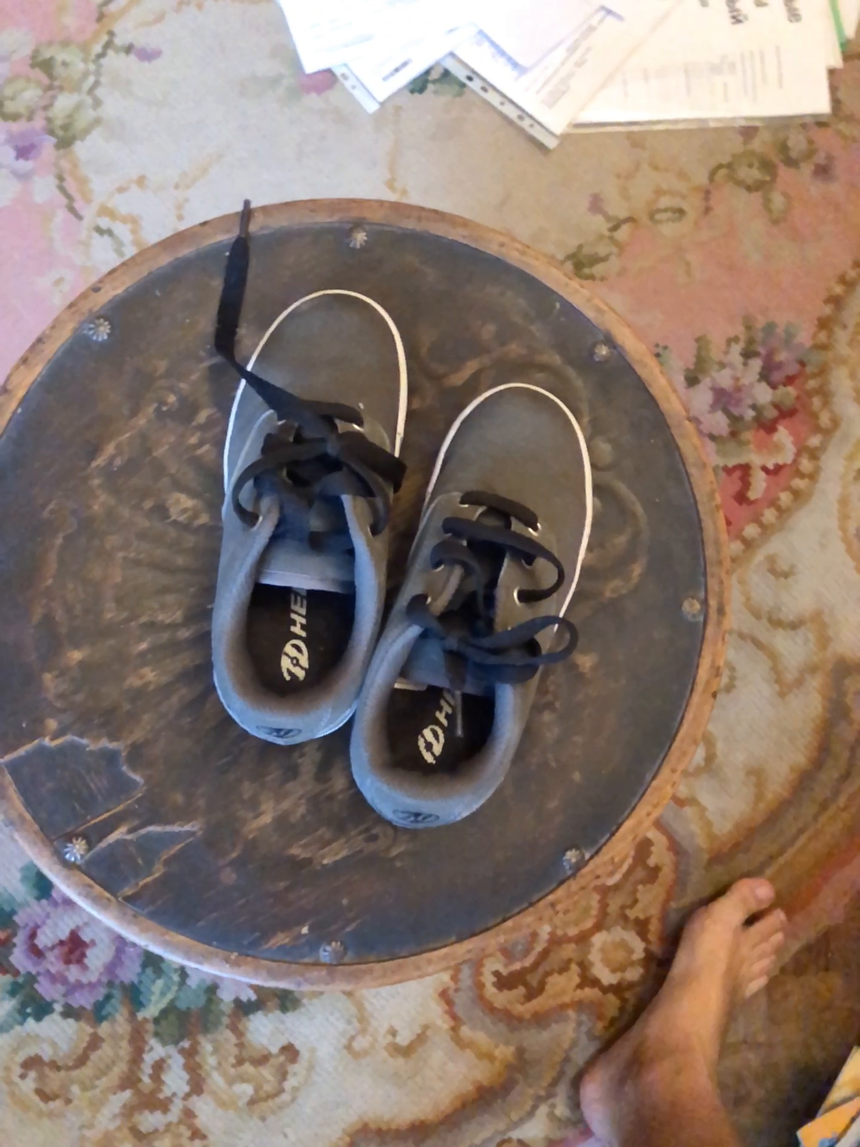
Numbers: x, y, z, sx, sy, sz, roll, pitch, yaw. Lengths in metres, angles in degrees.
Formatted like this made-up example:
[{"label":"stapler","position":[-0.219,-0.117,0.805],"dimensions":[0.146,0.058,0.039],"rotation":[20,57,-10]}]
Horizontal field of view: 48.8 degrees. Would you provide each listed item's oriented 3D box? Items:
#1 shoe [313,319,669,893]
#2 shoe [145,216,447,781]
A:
[{"label":"shoe","position":[0.023,0.015,0.426],"dimensions":[0.090,0.100,0.211],"rotation":[16,84,-3]},{"label":"shoe","position":[-0.054,-0.027,0.416],"dimensions":[0.090,0.100,0.211],"rotation":[7,84,-4]}]
